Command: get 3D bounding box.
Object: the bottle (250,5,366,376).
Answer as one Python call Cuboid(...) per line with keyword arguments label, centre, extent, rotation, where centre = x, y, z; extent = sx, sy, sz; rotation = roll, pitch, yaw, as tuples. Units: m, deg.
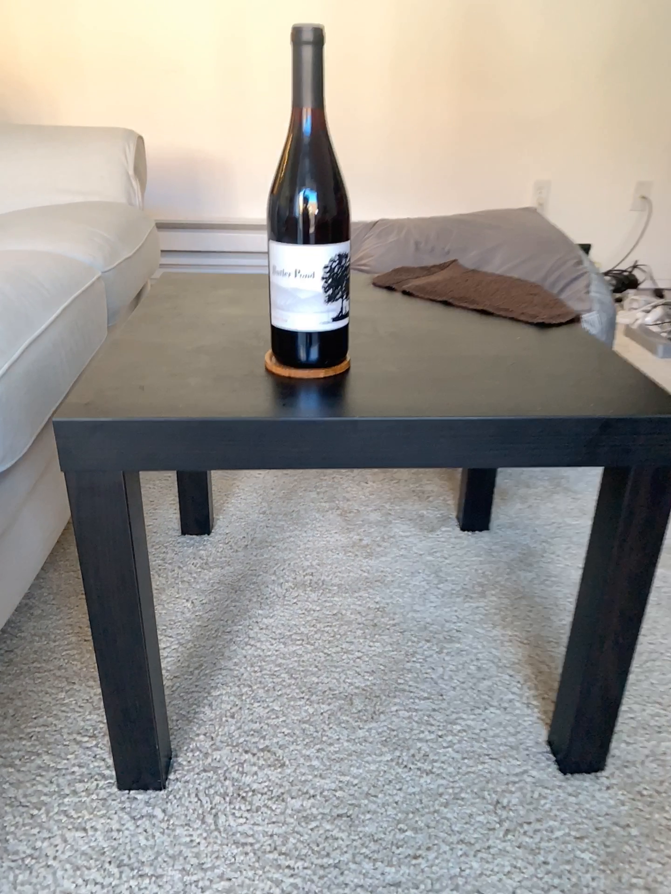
Cuboid(label="bottle", centre=(-0.025, -0.206, 0.581), extent=(0.080, 0.268, 0.101), rotation=(1, 26, -2))
